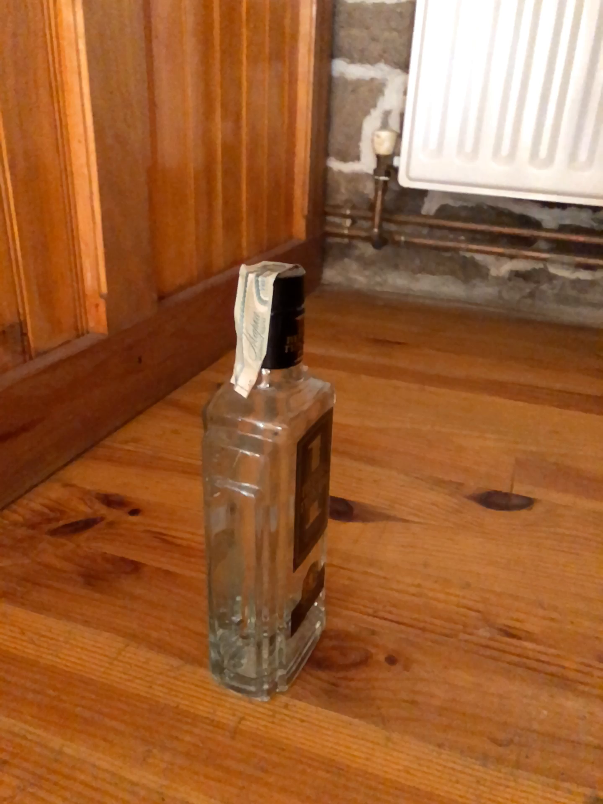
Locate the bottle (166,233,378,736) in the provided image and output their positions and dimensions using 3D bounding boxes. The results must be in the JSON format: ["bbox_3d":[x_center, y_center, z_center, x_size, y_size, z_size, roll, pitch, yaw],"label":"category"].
[{"bbox_3d":[-0.015,0.045,0.364,0.060,0.249,0.101,13,26,23],"label":"bottle"}]
